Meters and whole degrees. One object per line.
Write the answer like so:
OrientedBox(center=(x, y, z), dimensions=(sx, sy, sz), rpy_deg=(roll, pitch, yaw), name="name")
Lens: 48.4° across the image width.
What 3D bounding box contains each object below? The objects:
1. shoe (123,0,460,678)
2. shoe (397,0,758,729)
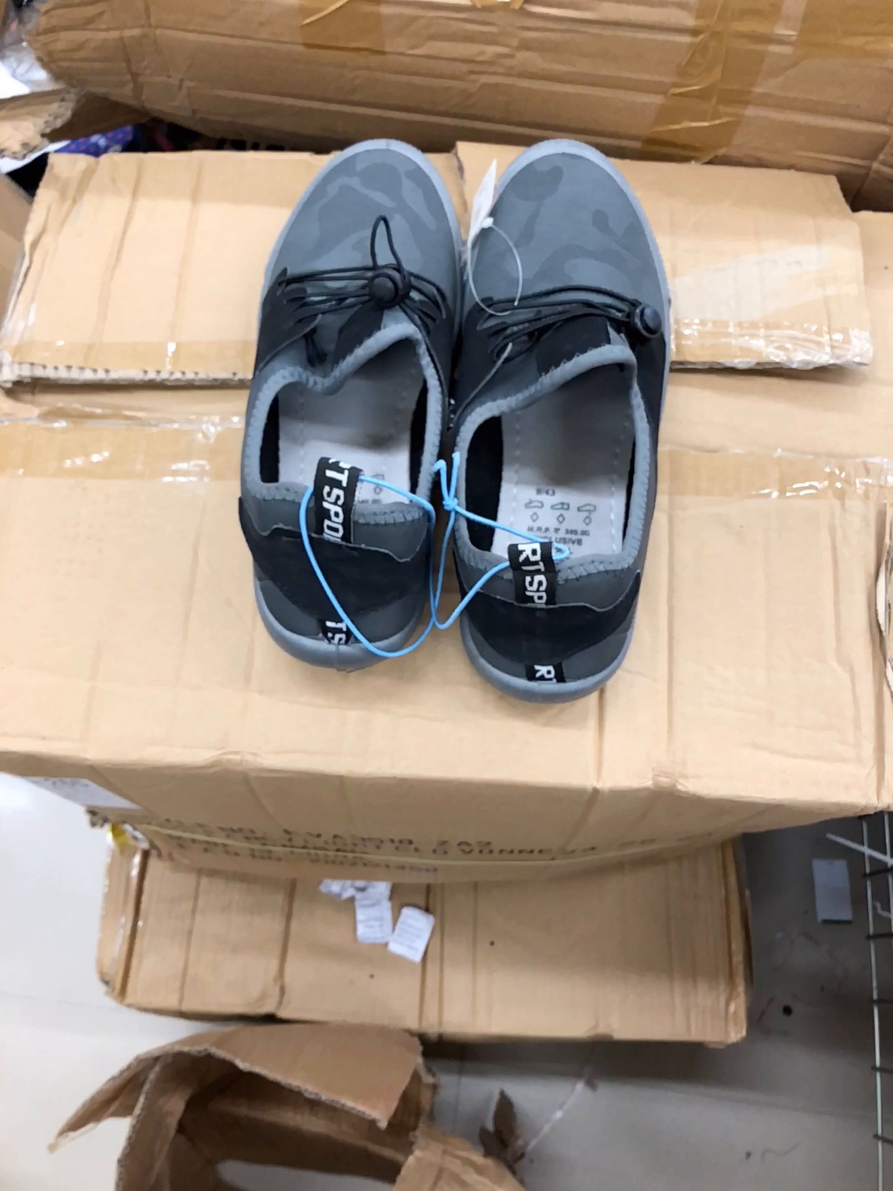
OrientedBox(center=(-0.051, -0.129, 0.453), dimensions=(0.110, 0.149, 0.301), rpy_deg=(1, 68, 0), name="shoe")
OrientedBox(center=(0.050, -0.110, 0.419), dimensions=(0.110, 0.130, 0.301), rpy_deg=(4, 68, 1), name="shoe")
